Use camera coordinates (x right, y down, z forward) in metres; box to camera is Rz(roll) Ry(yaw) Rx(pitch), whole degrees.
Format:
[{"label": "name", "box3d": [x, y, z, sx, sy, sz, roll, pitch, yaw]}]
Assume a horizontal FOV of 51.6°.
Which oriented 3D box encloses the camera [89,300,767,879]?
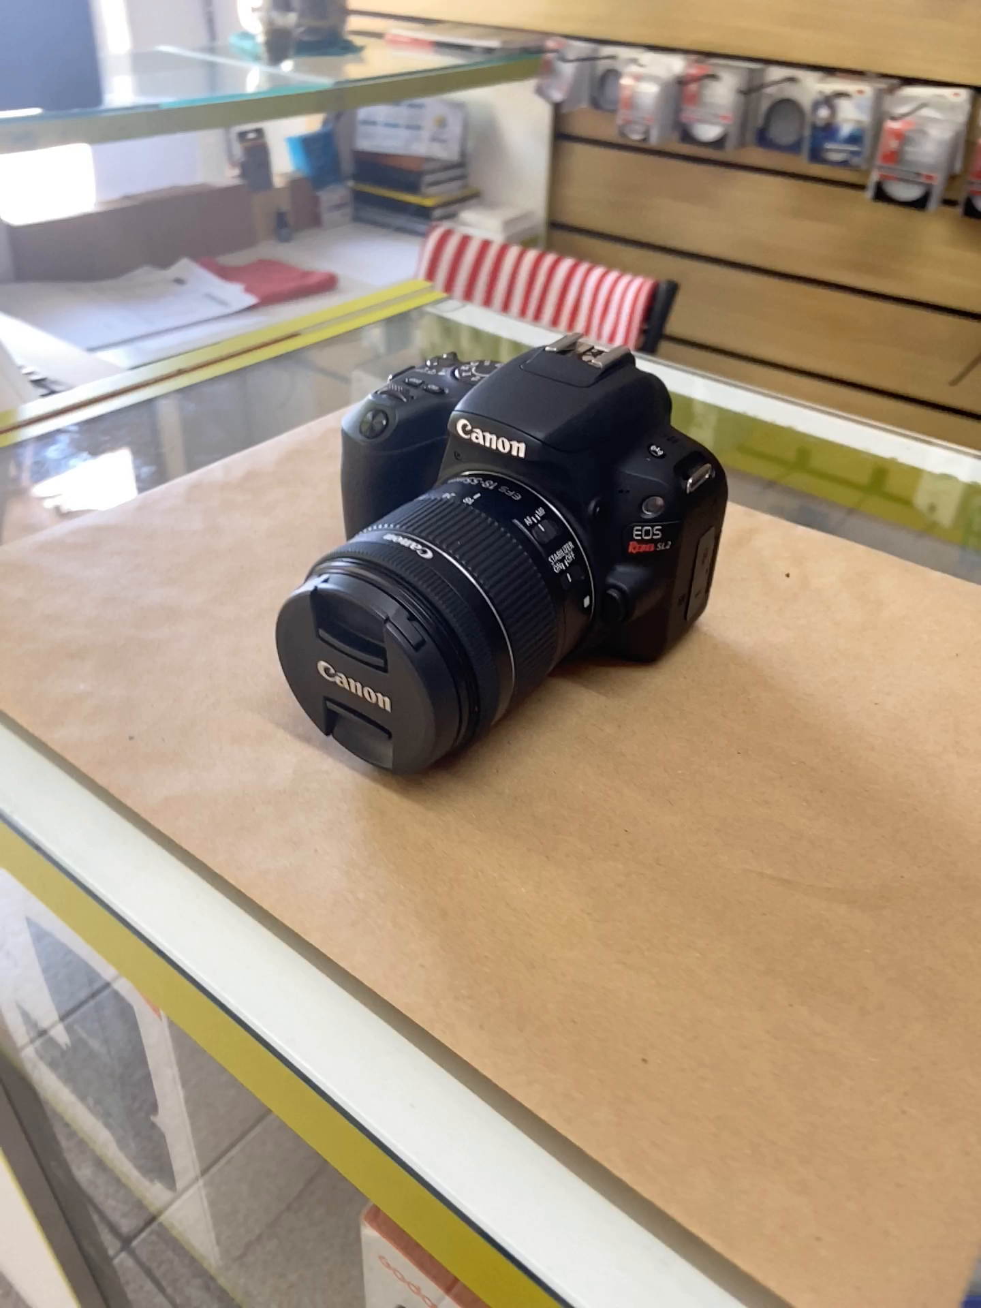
[{"label": "camera", "box3d": [-0.014, -0.034, 0.311, 0.140, 0.089, 0.131, 22, 41, 26]}]
